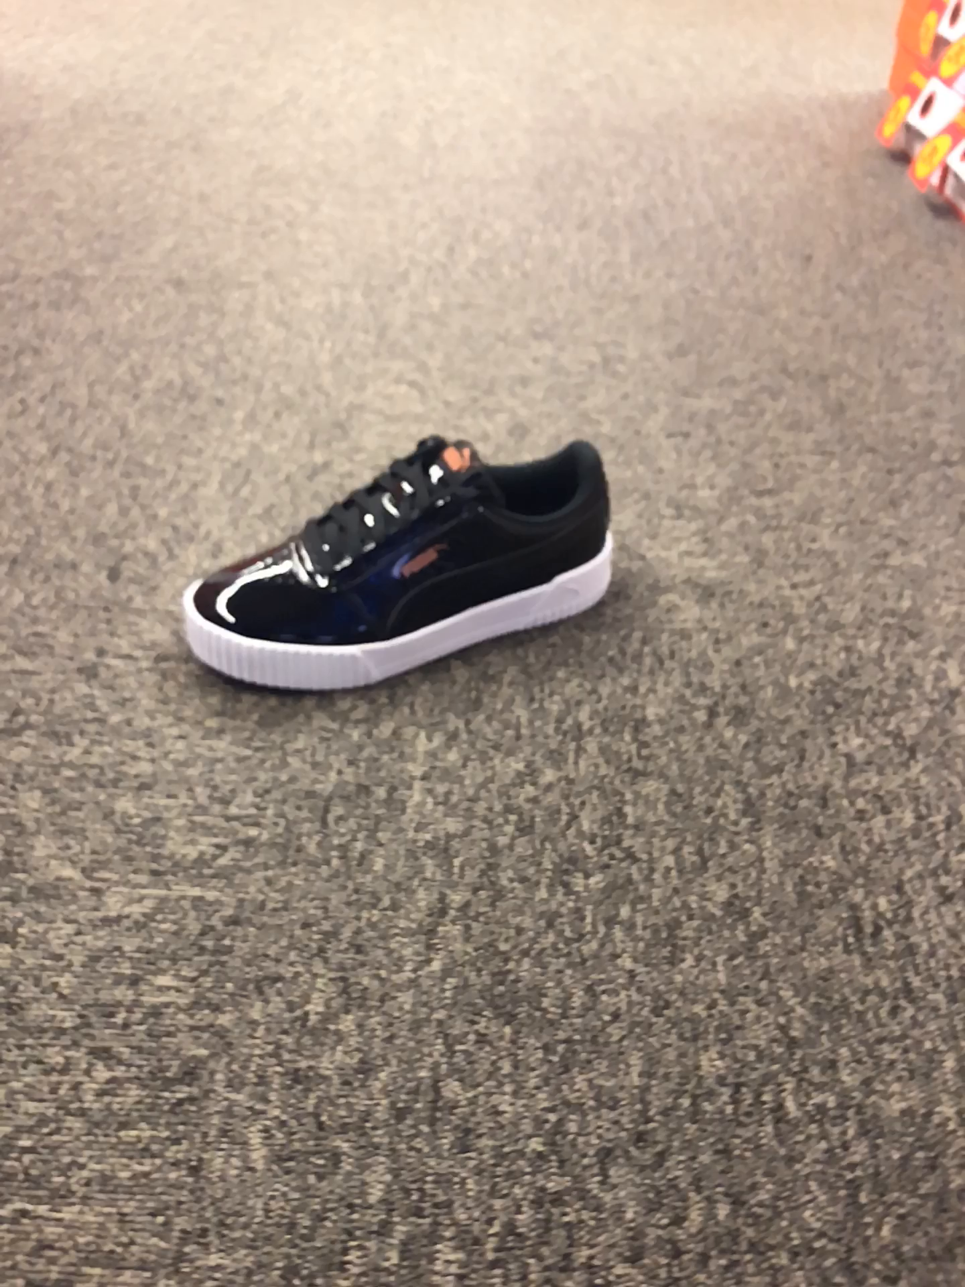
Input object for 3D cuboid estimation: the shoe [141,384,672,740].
[{"bbox_3d":[-0.039,-0.051,0.594,0.261,0.099,0.100,-16,43,-15],"label":"shoe"}]
